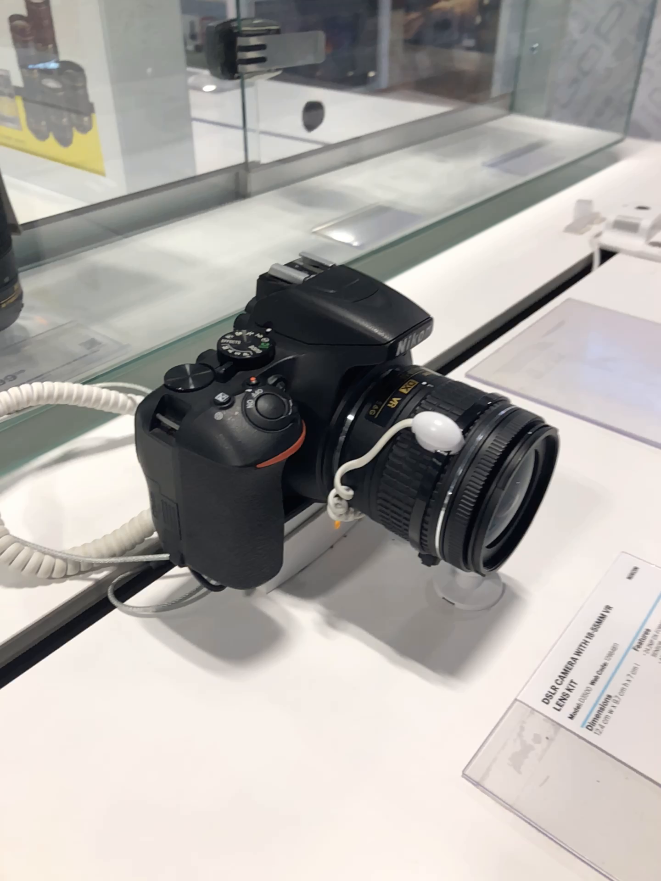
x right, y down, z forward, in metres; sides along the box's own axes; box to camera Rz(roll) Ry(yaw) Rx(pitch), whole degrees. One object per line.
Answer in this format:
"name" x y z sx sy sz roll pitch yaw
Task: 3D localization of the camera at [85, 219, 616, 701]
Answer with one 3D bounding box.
"camera" 0.011 -0.009 0.276 0.130 0.089 0.131 24 42 30
